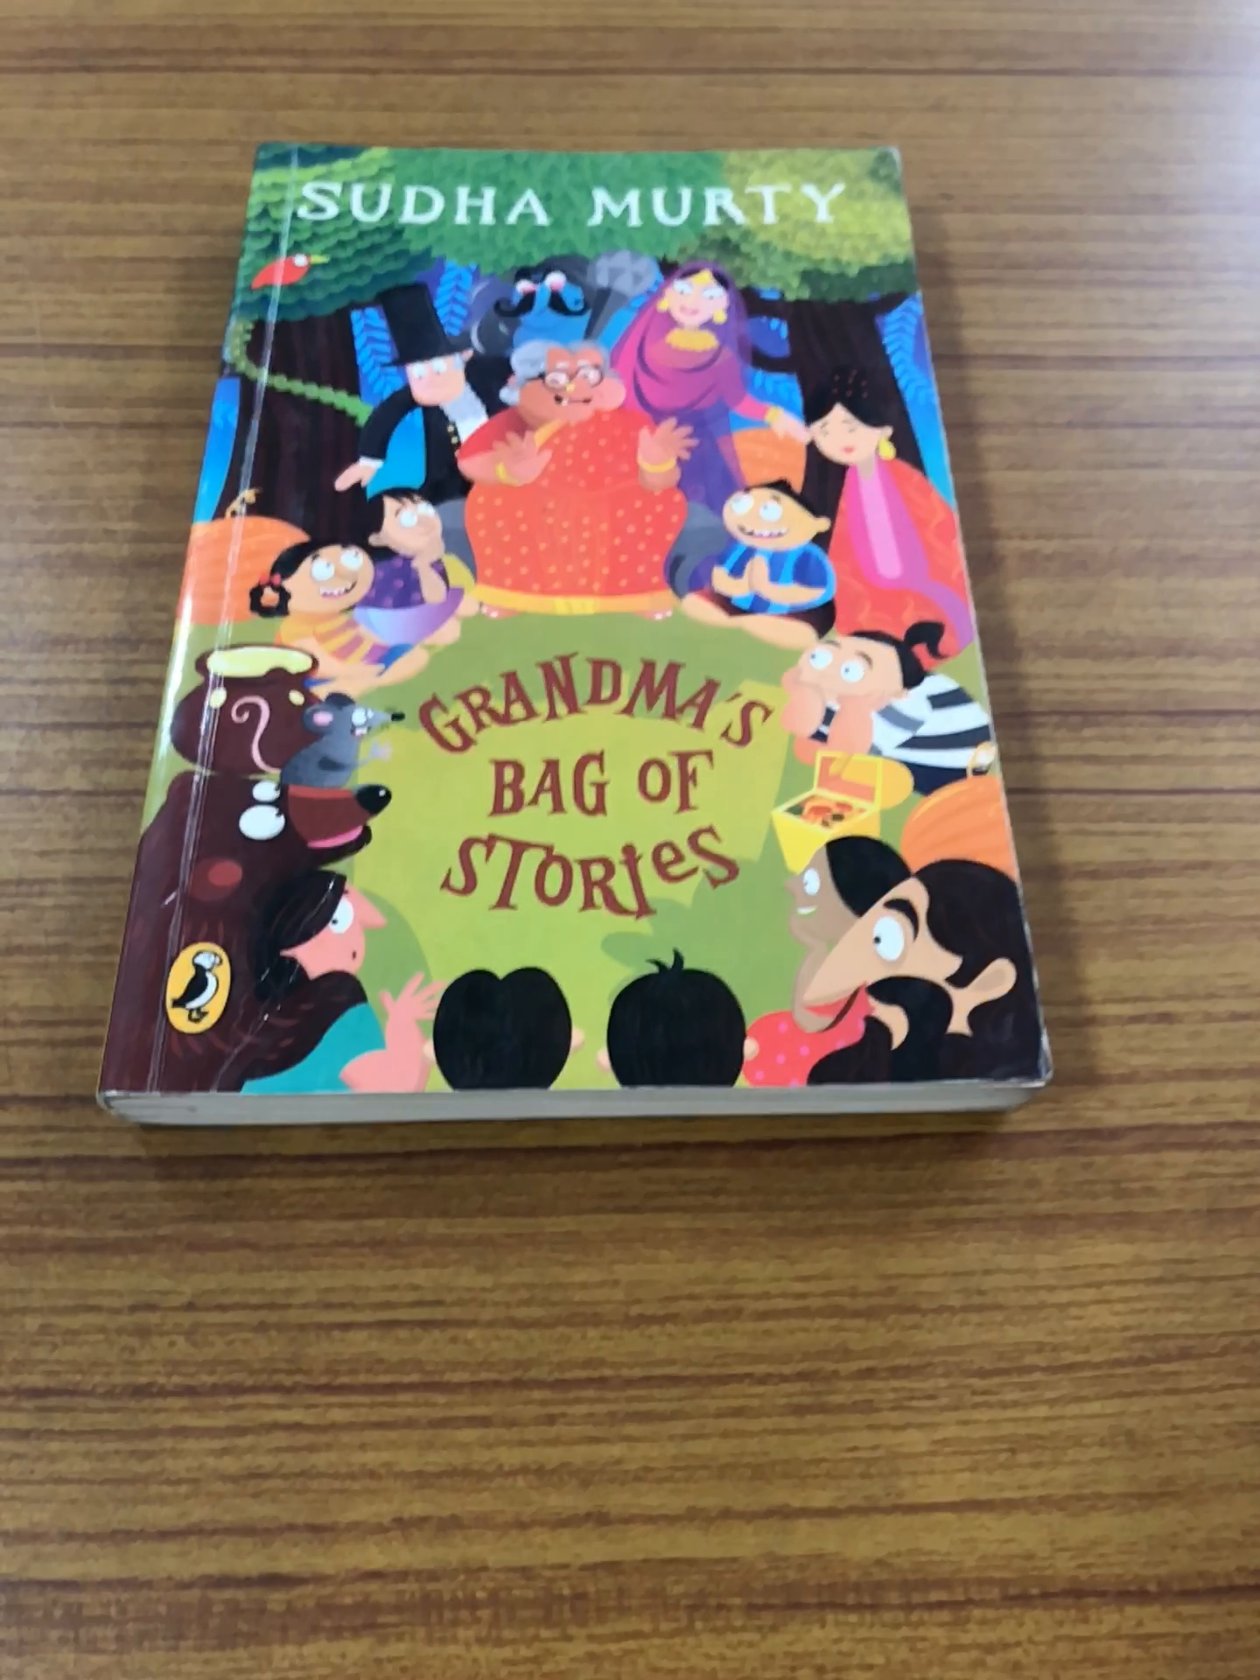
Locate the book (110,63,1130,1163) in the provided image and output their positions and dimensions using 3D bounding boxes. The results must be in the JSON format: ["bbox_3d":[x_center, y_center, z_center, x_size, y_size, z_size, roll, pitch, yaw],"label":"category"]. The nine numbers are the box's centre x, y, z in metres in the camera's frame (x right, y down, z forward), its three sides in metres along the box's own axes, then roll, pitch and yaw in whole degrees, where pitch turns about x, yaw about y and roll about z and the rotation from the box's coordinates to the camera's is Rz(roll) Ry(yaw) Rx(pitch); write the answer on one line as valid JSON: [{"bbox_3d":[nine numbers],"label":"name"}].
[{"bbox_3d":[-0.003,-0.054,0.245,0.130,0.030,0.210,-1,62,-1],"label":"book"}]
